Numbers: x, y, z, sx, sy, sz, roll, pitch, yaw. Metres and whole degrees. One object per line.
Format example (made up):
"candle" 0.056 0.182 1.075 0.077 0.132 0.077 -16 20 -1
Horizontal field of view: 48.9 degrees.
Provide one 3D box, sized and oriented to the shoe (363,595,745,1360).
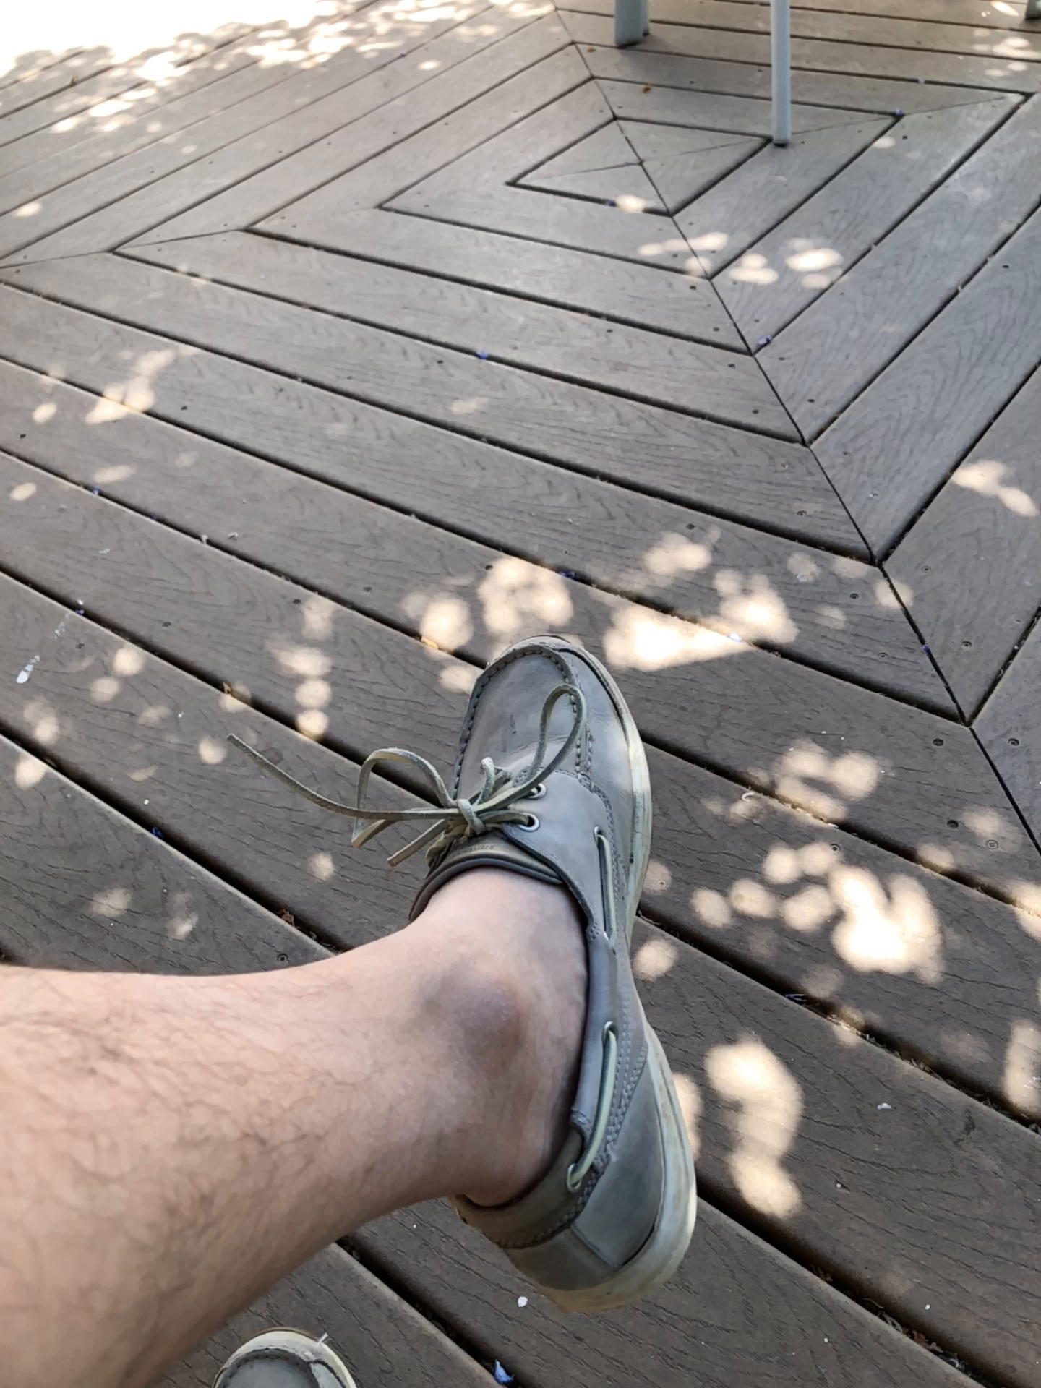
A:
"shoe" 0.012 0.114 0.543 0.110 0.092 0.324 -32 38 29
